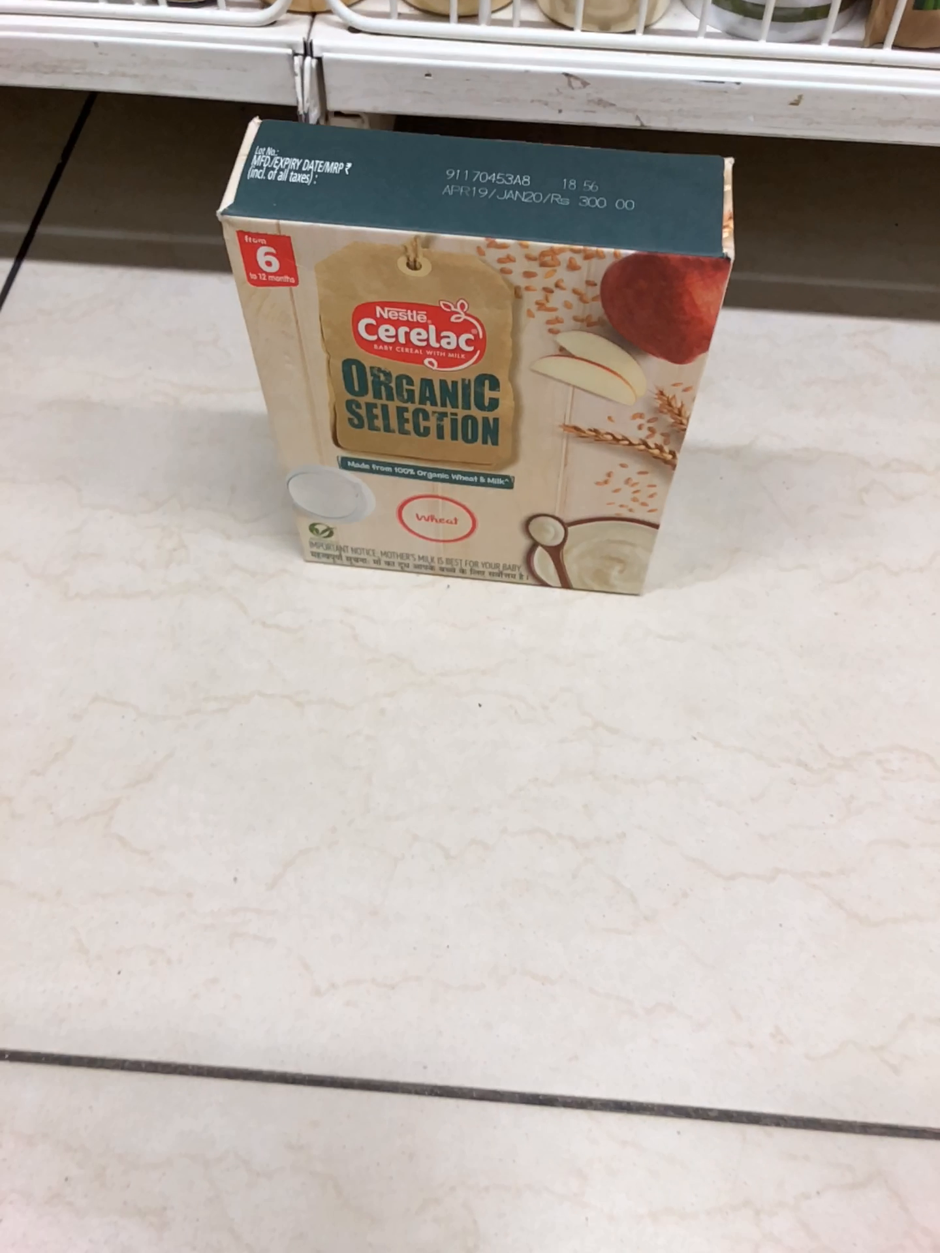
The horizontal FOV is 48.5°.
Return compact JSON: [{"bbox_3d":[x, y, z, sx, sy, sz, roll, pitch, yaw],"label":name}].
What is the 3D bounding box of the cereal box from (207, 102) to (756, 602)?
[{"bbox_3d":[0.004,-0.089,0.396,0.160,0.189,0.050,6,59,3],"label":"cereal box"}]
